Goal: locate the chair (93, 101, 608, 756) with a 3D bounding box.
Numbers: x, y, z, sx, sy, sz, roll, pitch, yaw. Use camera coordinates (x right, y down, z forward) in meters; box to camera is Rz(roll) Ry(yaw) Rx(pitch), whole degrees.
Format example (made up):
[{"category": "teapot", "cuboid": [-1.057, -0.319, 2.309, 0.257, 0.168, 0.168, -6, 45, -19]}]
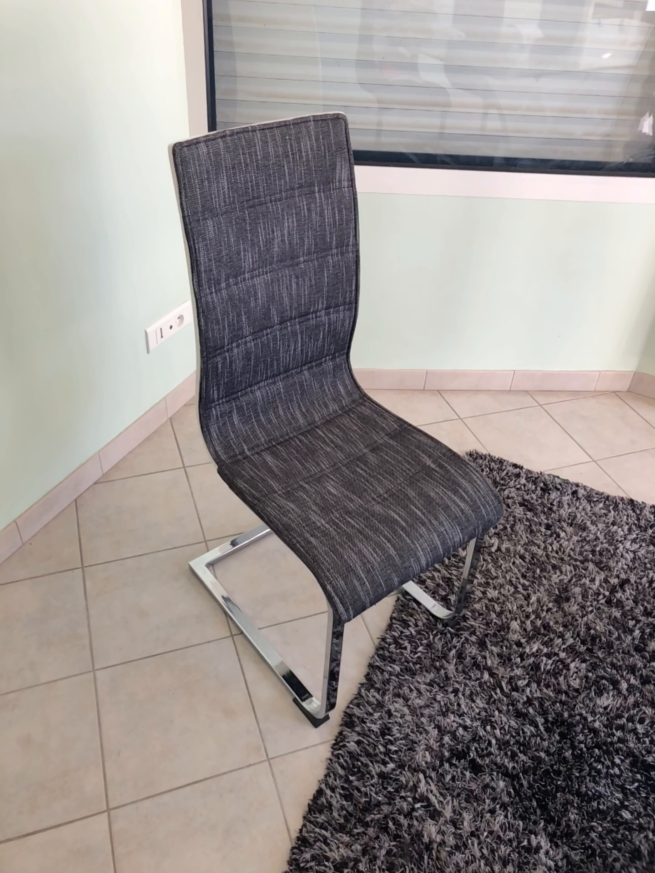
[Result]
[{"category": "chair", "cuboid": [-0.006, -0.018, 1.346, 0.503, 0.964, 0.581, -26, 47, -33]}]
